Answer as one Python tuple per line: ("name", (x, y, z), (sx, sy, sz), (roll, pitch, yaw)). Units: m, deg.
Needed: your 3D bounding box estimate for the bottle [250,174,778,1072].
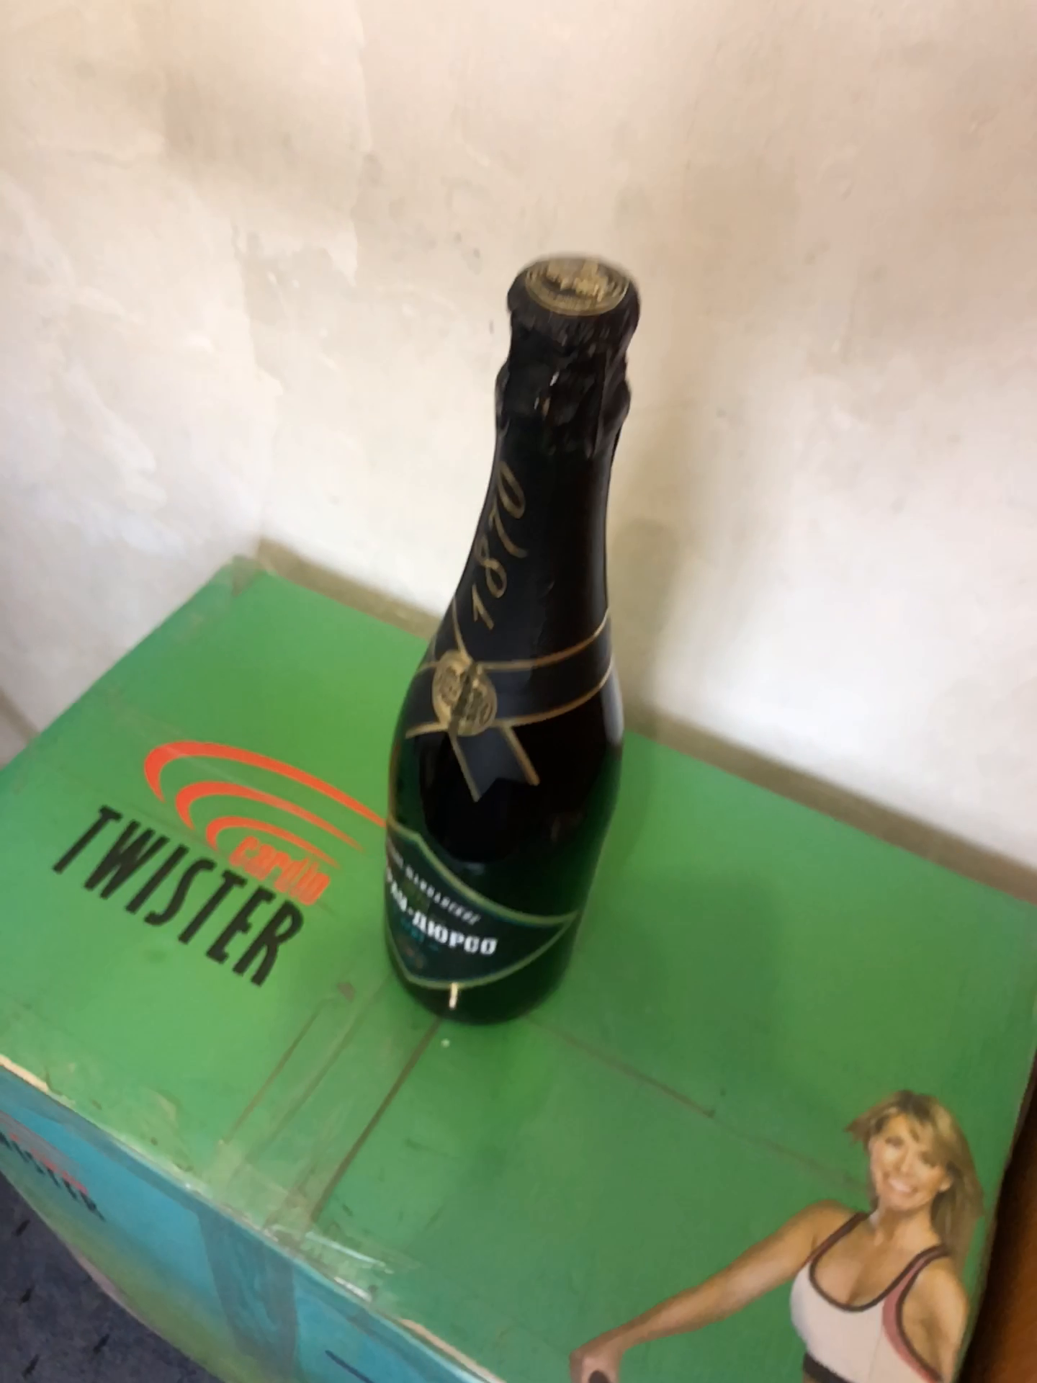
("bottle", (-0.009, 0.004, 0.388), (0.090, 0.300, 0.090), (2, 48, -2))
